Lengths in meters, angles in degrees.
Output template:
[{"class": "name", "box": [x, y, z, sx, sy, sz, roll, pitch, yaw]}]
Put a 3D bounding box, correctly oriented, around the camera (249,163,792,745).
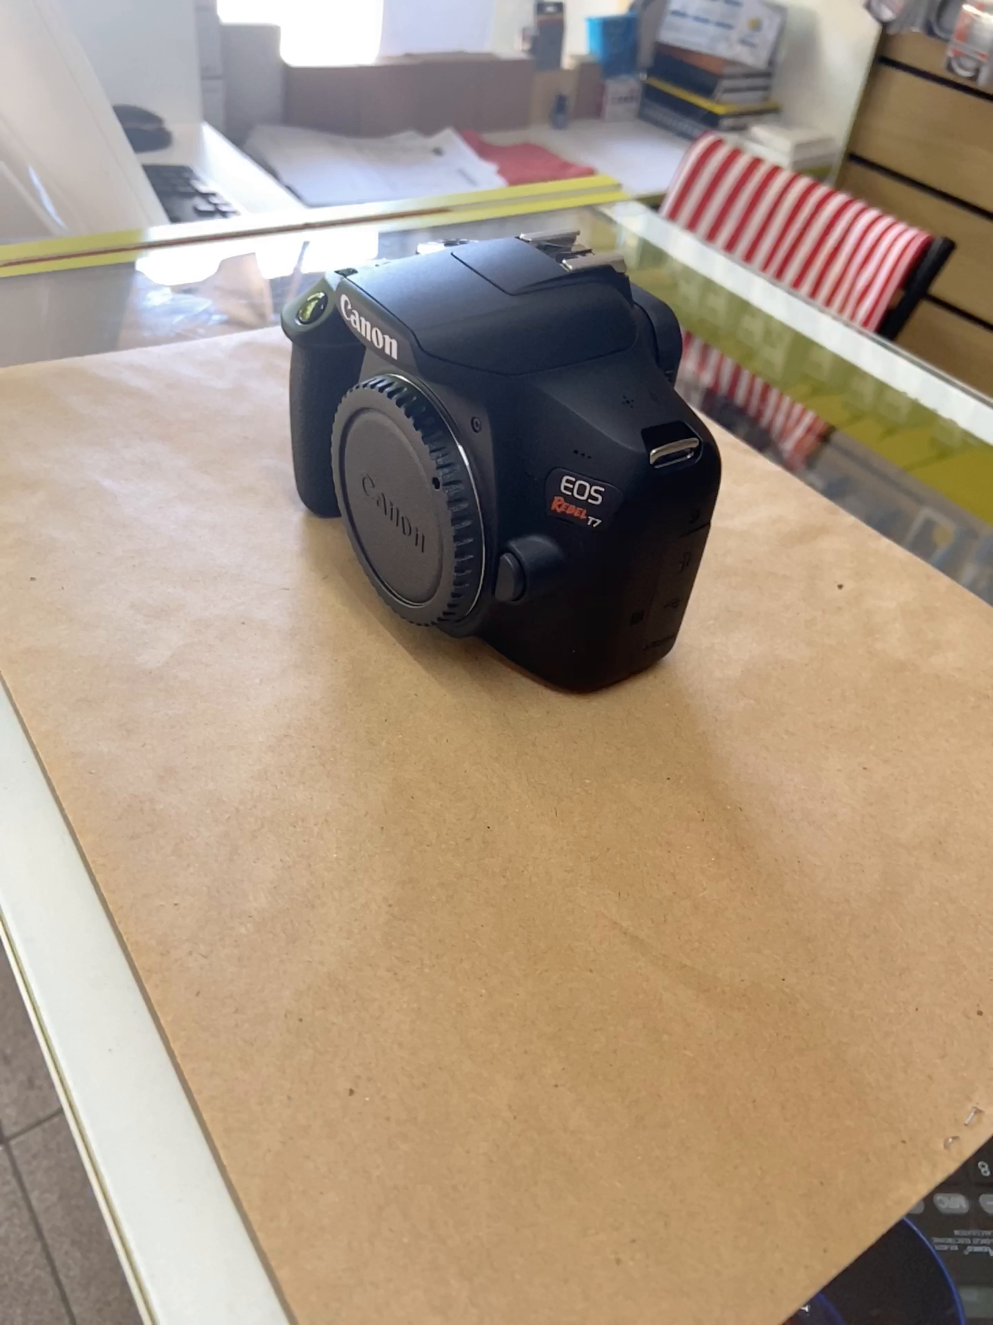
[{"class": "camera", "box": [-0.004, -0.064, 0.282, 0.071, 0.092, 0.131, -21, 49, -28]}]
